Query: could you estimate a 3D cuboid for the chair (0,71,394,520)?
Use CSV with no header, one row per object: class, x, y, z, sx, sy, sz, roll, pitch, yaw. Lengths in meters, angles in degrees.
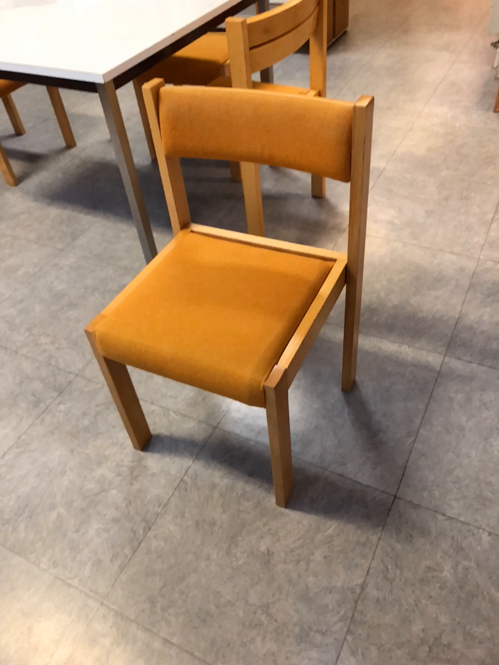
chair,-0.064,-0.092,1.183,0.550,0.696,0.523,16,48,22
